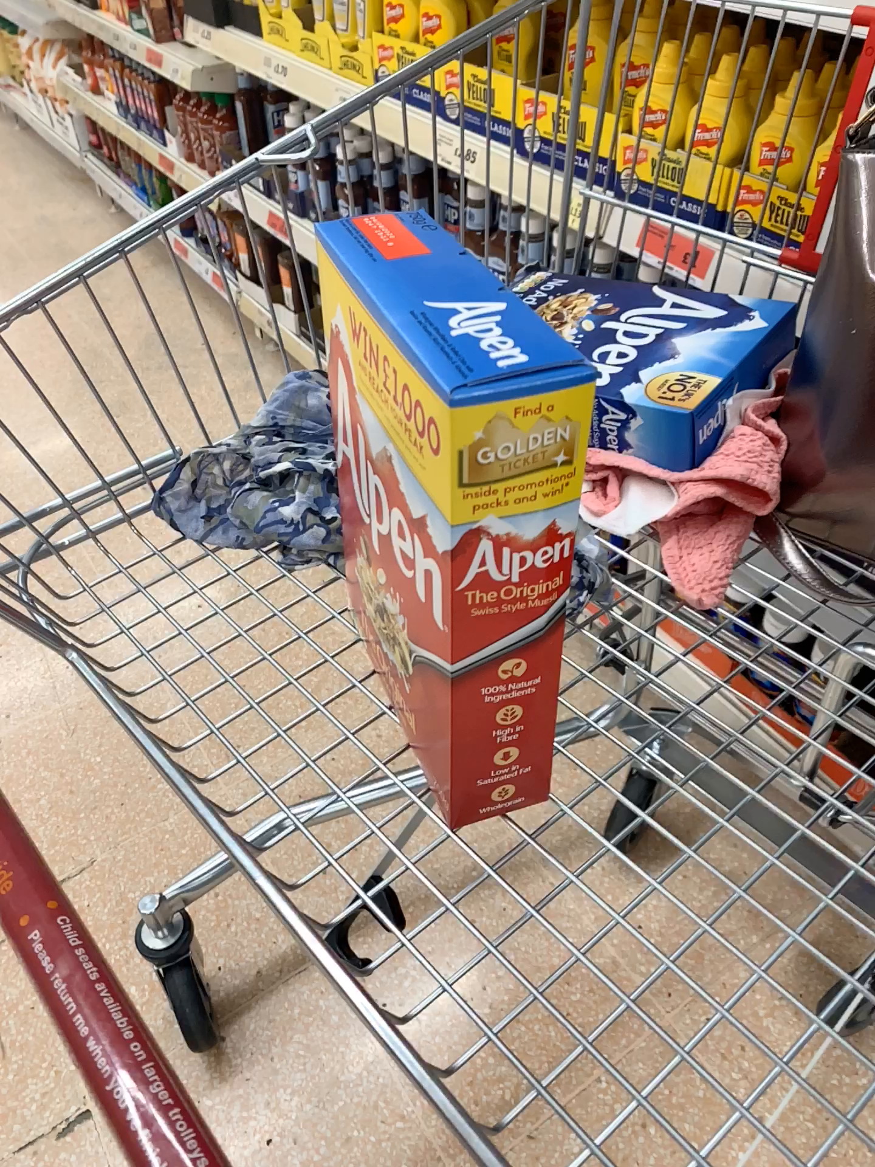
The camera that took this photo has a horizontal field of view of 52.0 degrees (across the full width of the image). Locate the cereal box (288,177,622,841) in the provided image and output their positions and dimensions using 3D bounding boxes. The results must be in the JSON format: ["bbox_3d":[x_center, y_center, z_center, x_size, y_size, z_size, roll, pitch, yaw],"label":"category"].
[{"bbox_3d":[0.000,-0.030,0.424,0.060,0.248,0.181,-17,45,-15],"label":"cereal box"}]
